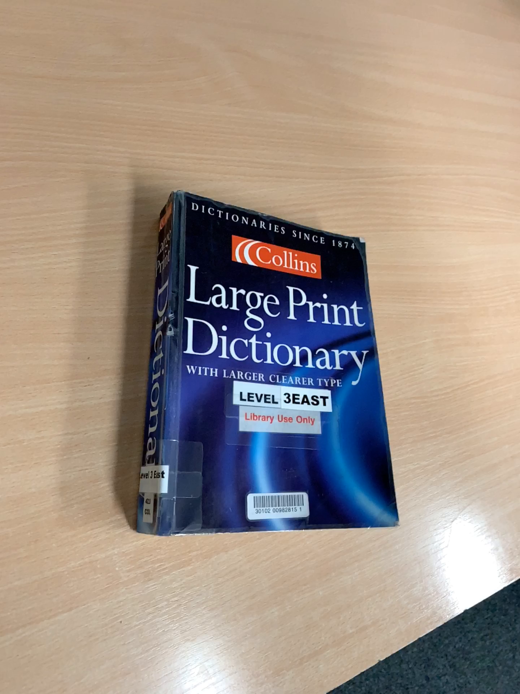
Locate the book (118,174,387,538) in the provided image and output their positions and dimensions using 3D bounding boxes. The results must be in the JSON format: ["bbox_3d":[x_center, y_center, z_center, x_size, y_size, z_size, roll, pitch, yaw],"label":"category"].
[{"bbox_3d":[-0.001,0.012,0.409,0.188,0.050,0.243,8,73,-27],"label":"book"}]
